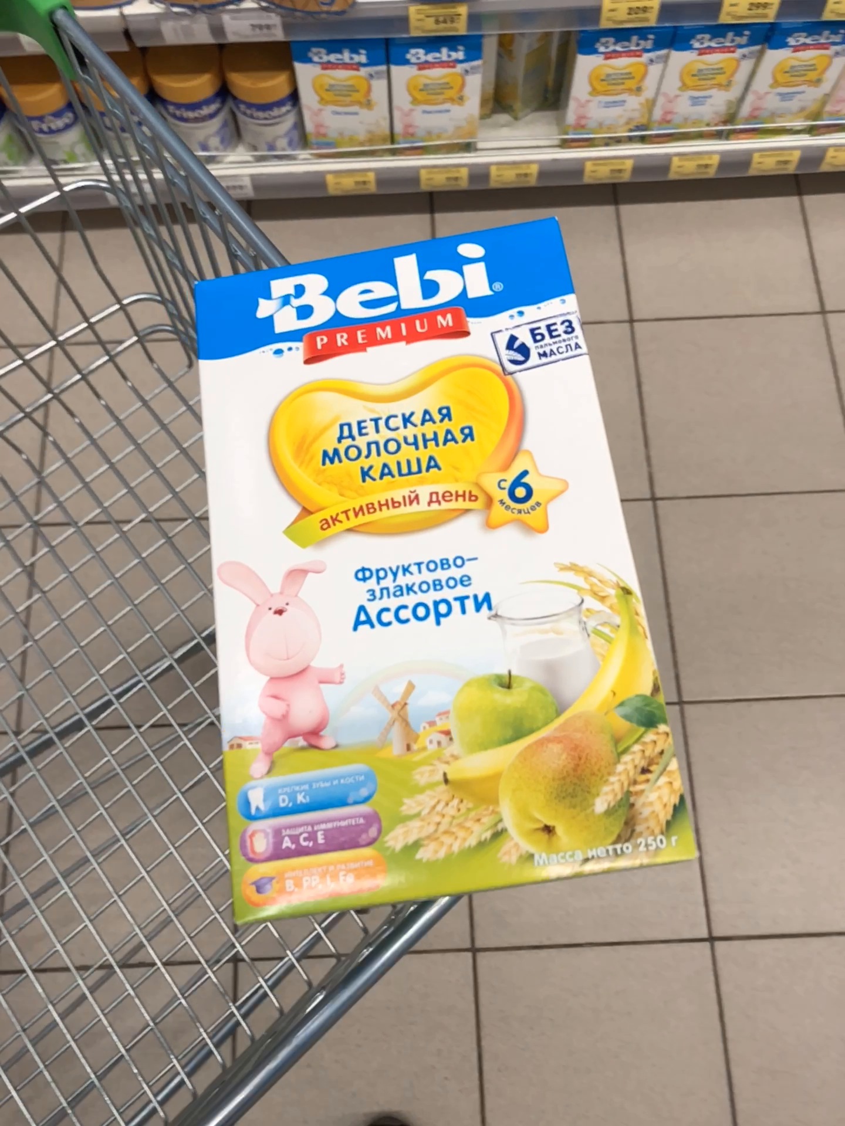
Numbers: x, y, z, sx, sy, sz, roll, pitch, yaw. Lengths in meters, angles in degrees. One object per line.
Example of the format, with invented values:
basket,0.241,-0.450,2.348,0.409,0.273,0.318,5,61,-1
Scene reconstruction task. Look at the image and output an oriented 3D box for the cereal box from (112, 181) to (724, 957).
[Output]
cereal box,-0.011,-0.003,0.289,0.150,0.050,0.210,-10,71,4
